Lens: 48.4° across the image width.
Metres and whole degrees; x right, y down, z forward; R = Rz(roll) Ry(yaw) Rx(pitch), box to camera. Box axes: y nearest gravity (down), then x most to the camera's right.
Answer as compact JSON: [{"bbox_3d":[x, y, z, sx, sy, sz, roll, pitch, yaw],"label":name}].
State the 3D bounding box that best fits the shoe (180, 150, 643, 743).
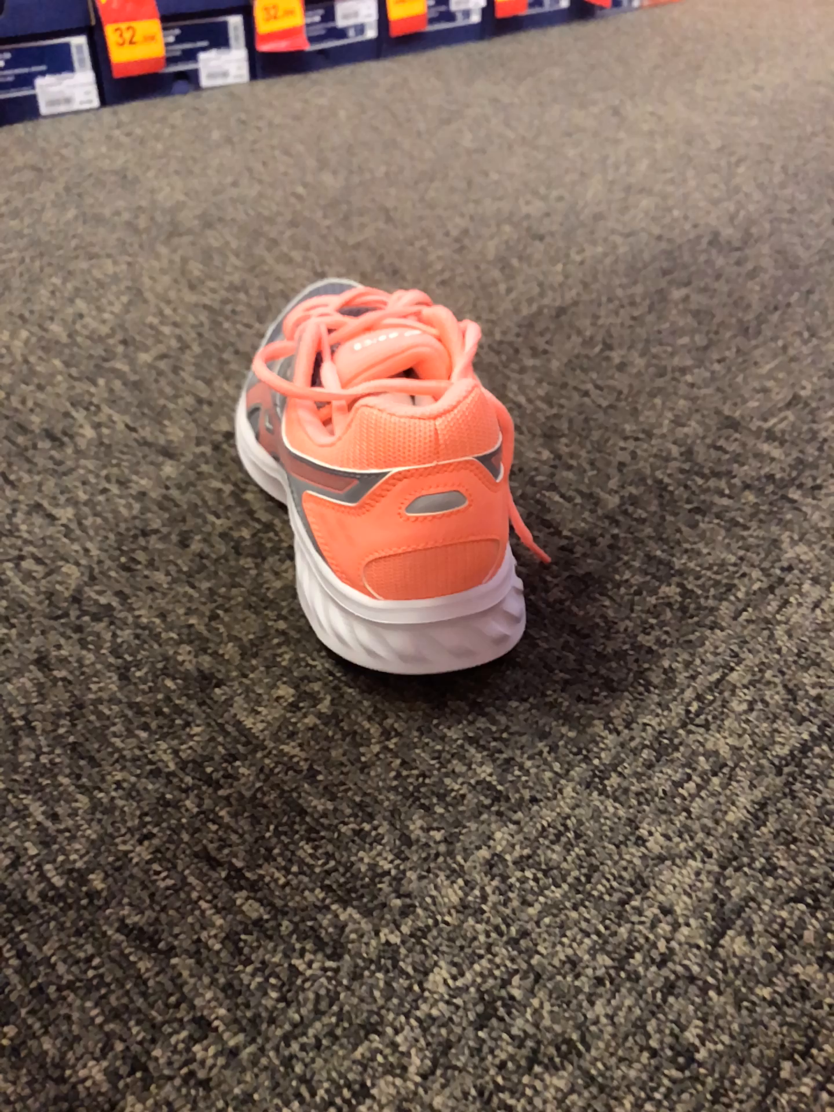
[{"bbox_3d":[-0.023,-0.067,0.369,0.110,0.109,0.251,-9,39,-11],"label":"shoe"}]
